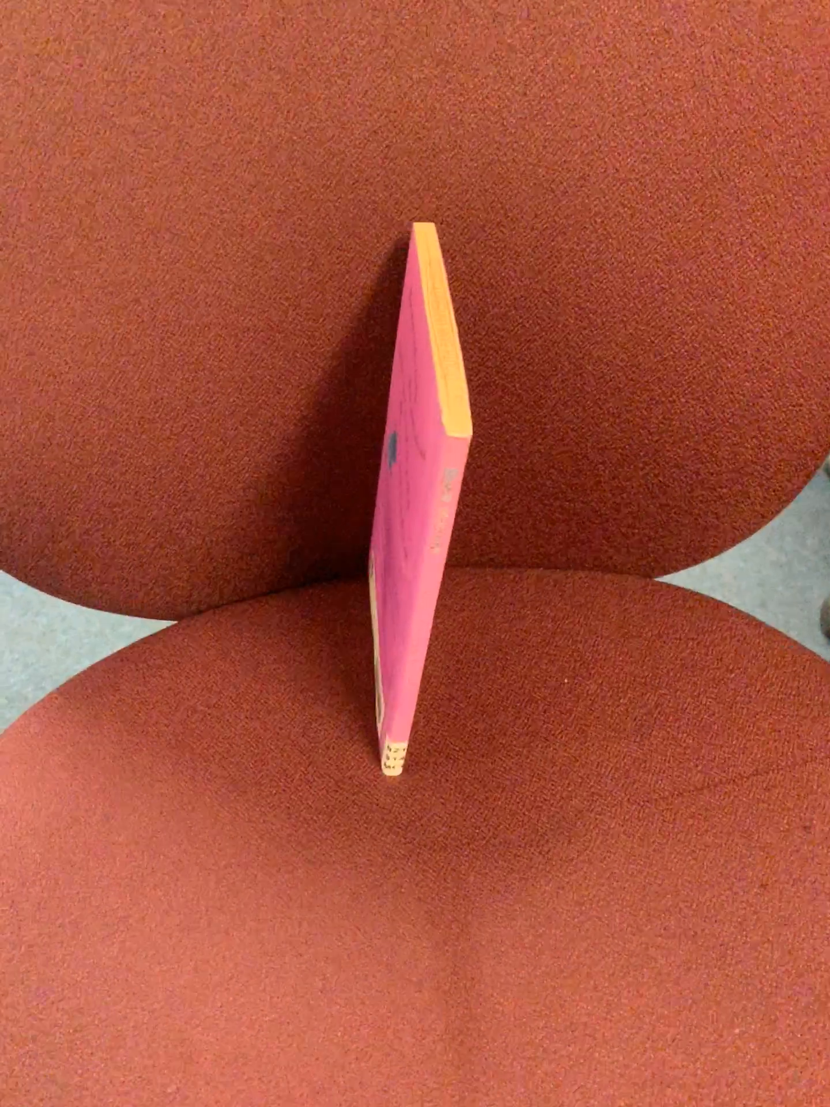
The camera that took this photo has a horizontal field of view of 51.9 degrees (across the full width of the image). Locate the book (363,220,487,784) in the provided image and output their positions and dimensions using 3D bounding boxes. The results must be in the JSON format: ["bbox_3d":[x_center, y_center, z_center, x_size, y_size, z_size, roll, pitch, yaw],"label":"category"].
[{"bbox_3d":[-0.004,-0.016,0.358,0.017,0.189,0.142,1,45,-8],"label":"book"}]
